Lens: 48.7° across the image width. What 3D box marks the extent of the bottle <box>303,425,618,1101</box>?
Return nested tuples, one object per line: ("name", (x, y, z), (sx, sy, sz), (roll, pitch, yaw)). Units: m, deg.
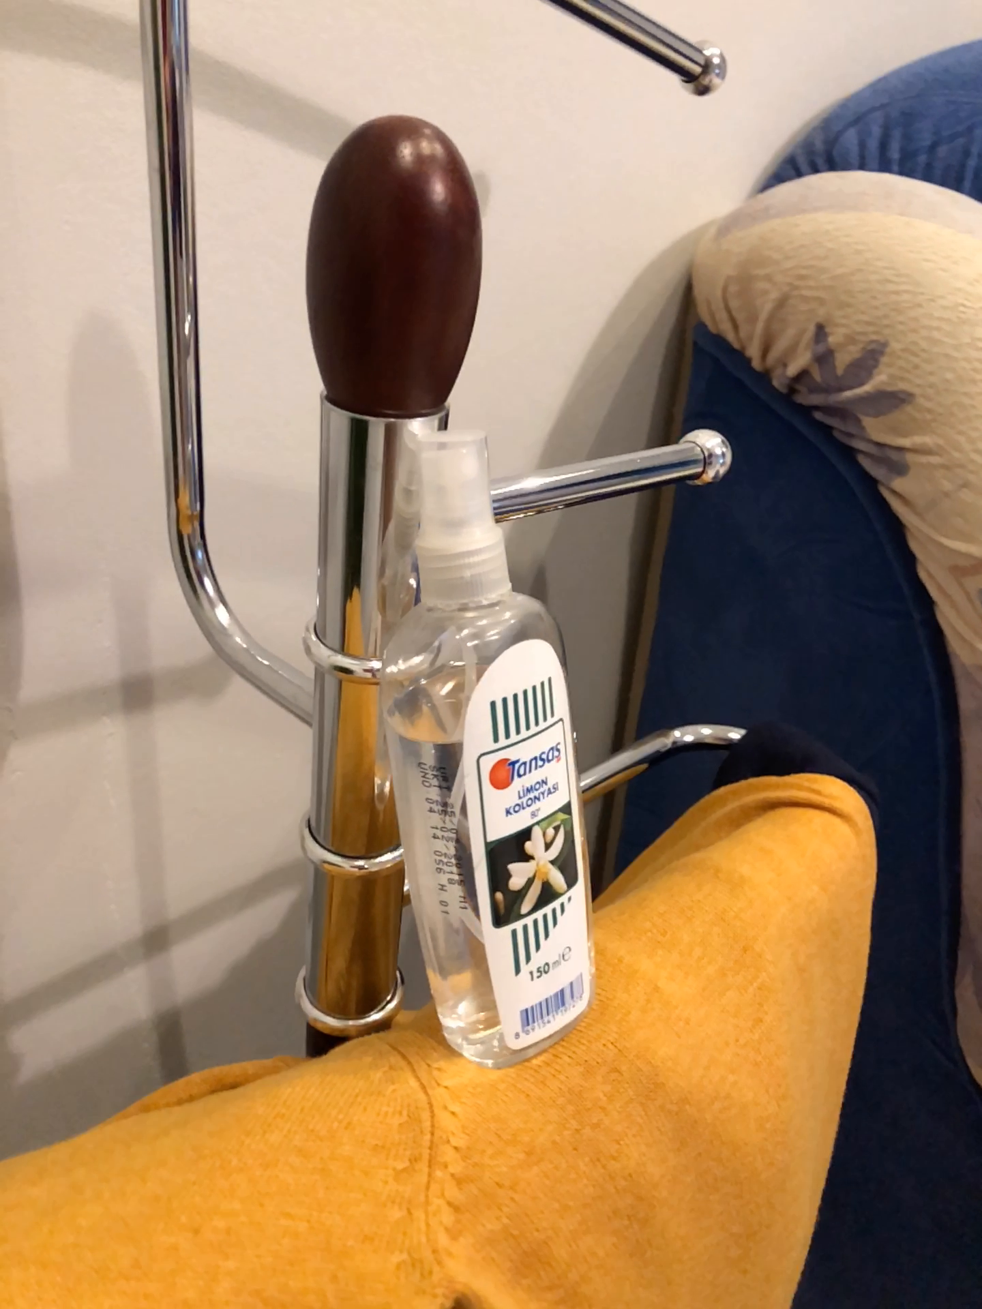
("bottle", (-0.004, 0.026, 0.273), (0.051, 0.158, 0.030), (-19, 20, -35))
